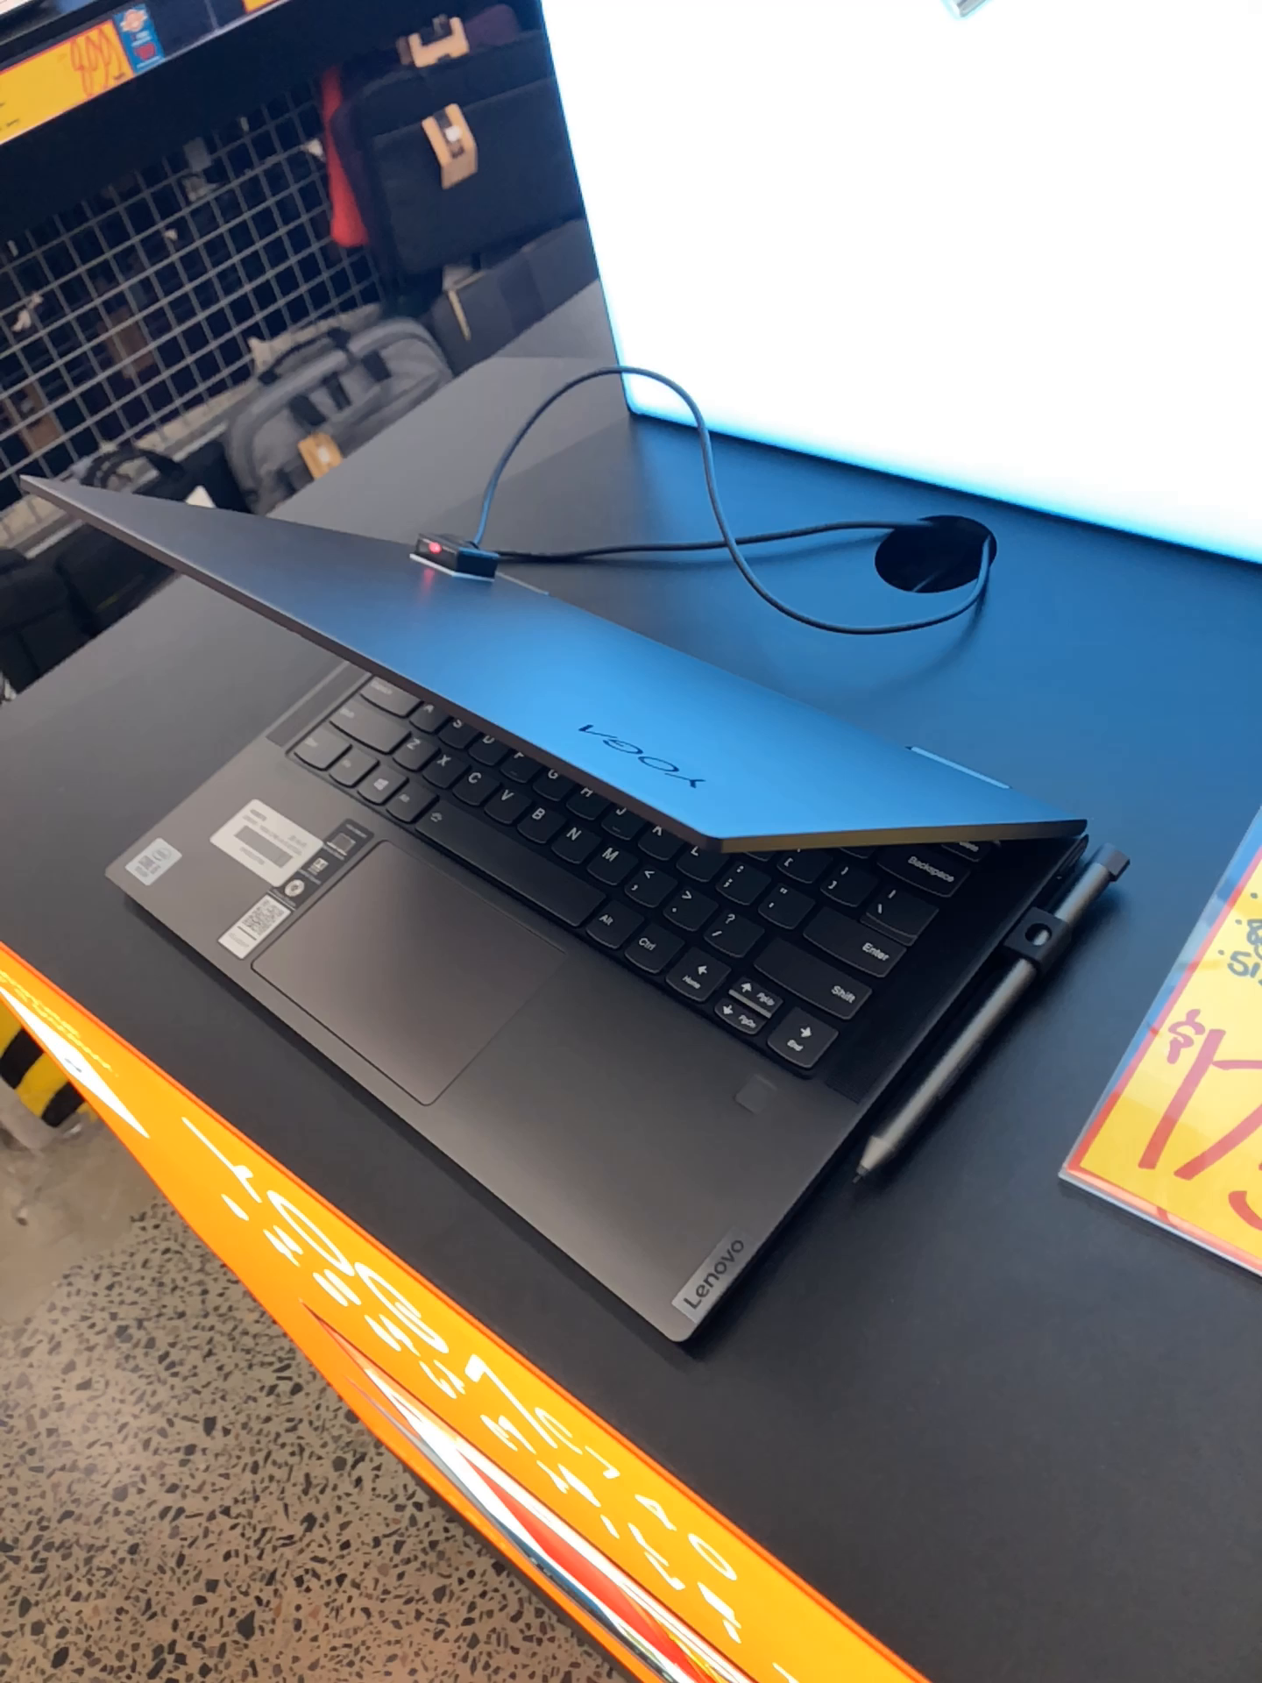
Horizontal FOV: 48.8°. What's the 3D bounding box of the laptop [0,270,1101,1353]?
[{"bbox_3d":[-0.046,-0.043,0.460,0.321,0.144,0.209,28,62,37],"label":"laptop"}]
